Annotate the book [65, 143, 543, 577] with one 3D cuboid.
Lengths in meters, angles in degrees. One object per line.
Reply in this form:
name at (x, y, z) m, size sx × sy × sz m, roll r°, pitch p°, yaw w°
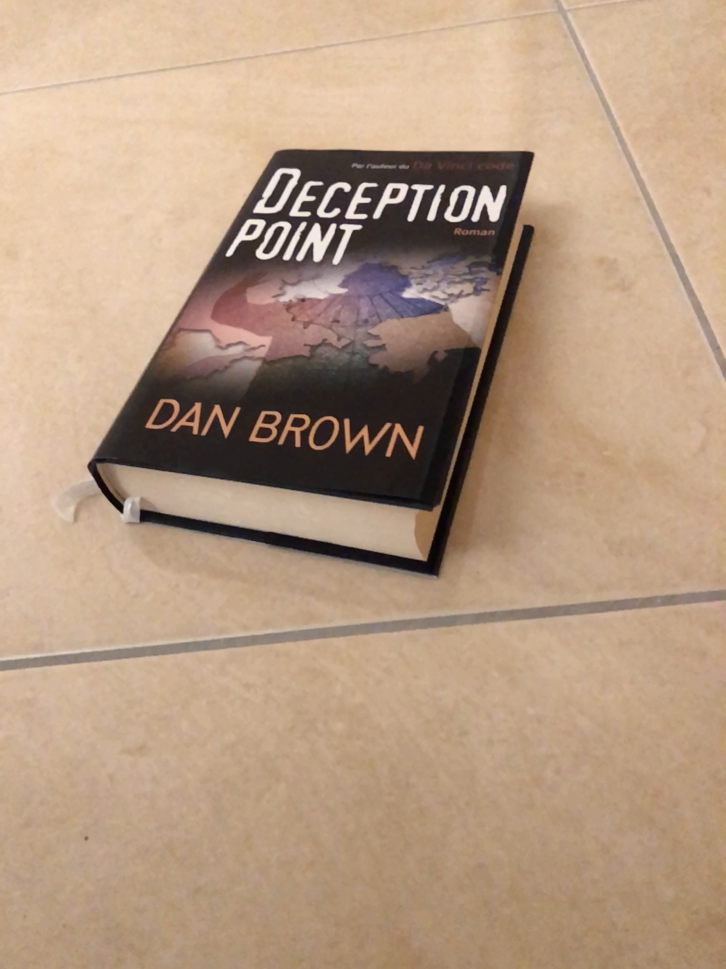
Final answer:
book at (-0.009, -0.071, 0.342) m, size 0.136 × 0.037 × 0.213 m, roll 8°, pitch 54°, yaw 18°
